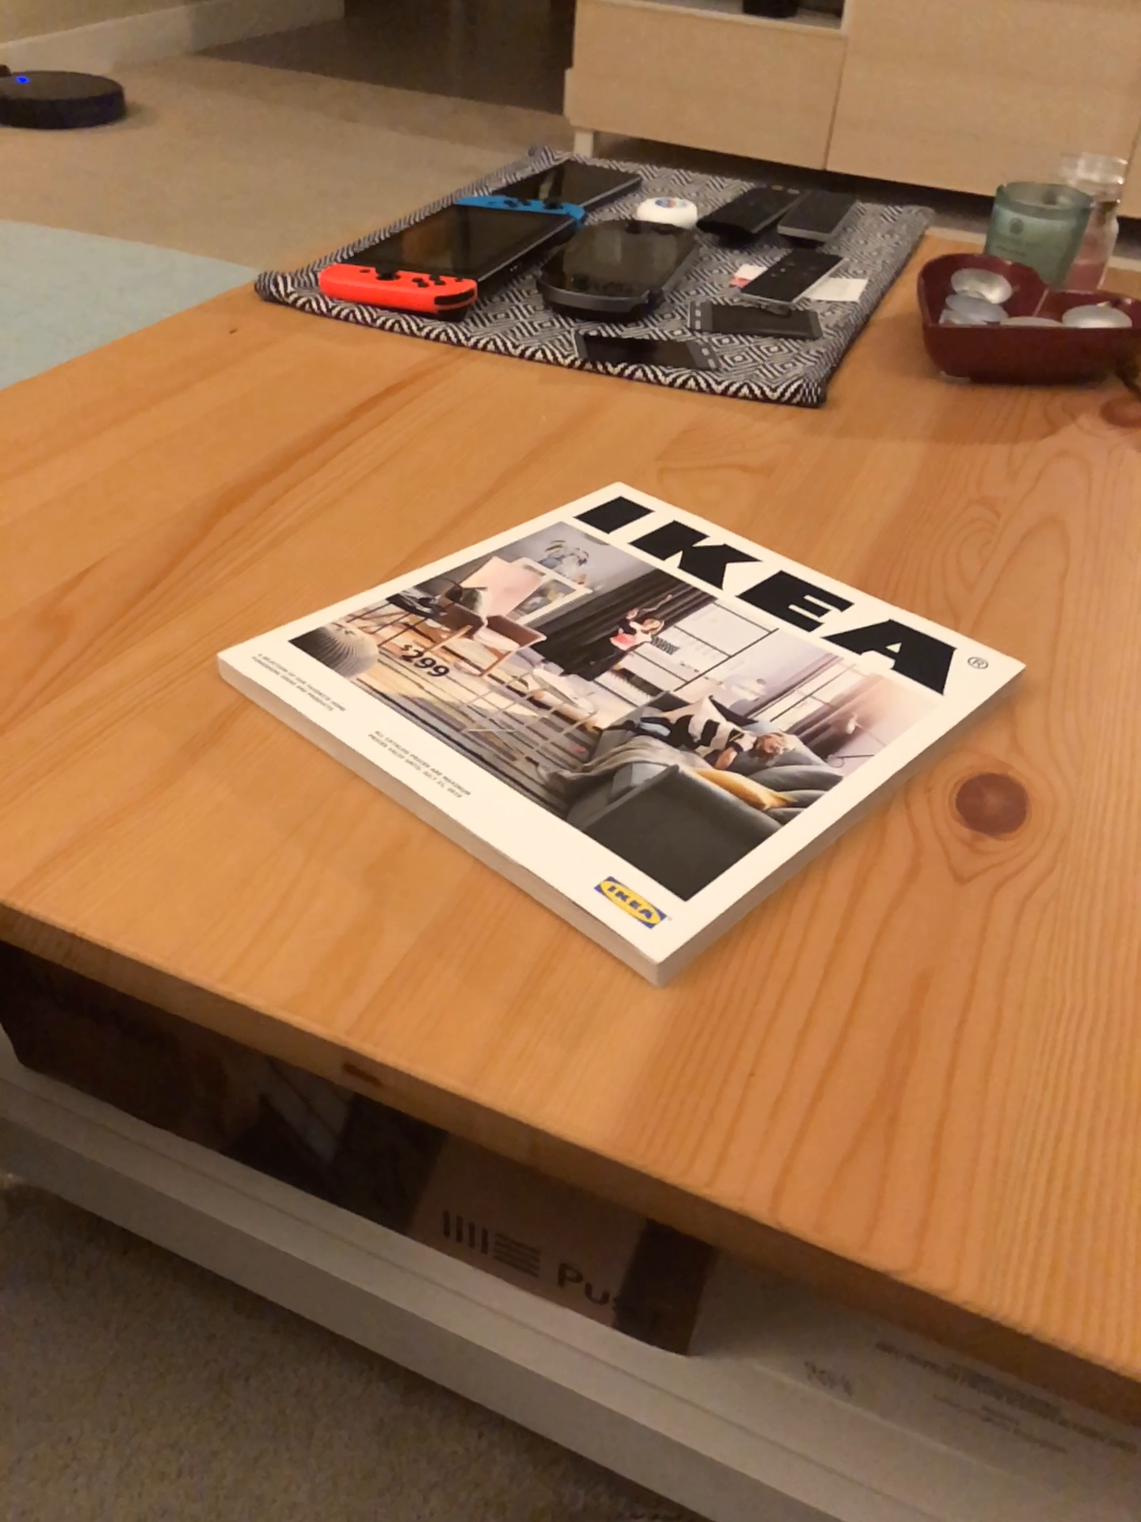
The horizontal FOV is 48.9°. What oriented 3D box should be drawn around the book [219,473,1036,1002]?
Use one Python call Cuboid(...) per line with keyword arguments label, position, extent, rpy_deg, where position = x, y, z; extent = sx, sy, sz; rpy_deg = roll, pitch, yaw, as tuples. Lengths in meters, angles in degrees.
Cuboid(label="book", position=(0.024, -0.033, 0.464), extent=(0.211, 0.015, 0.216), rpy_deg=(32, 46, 30))
